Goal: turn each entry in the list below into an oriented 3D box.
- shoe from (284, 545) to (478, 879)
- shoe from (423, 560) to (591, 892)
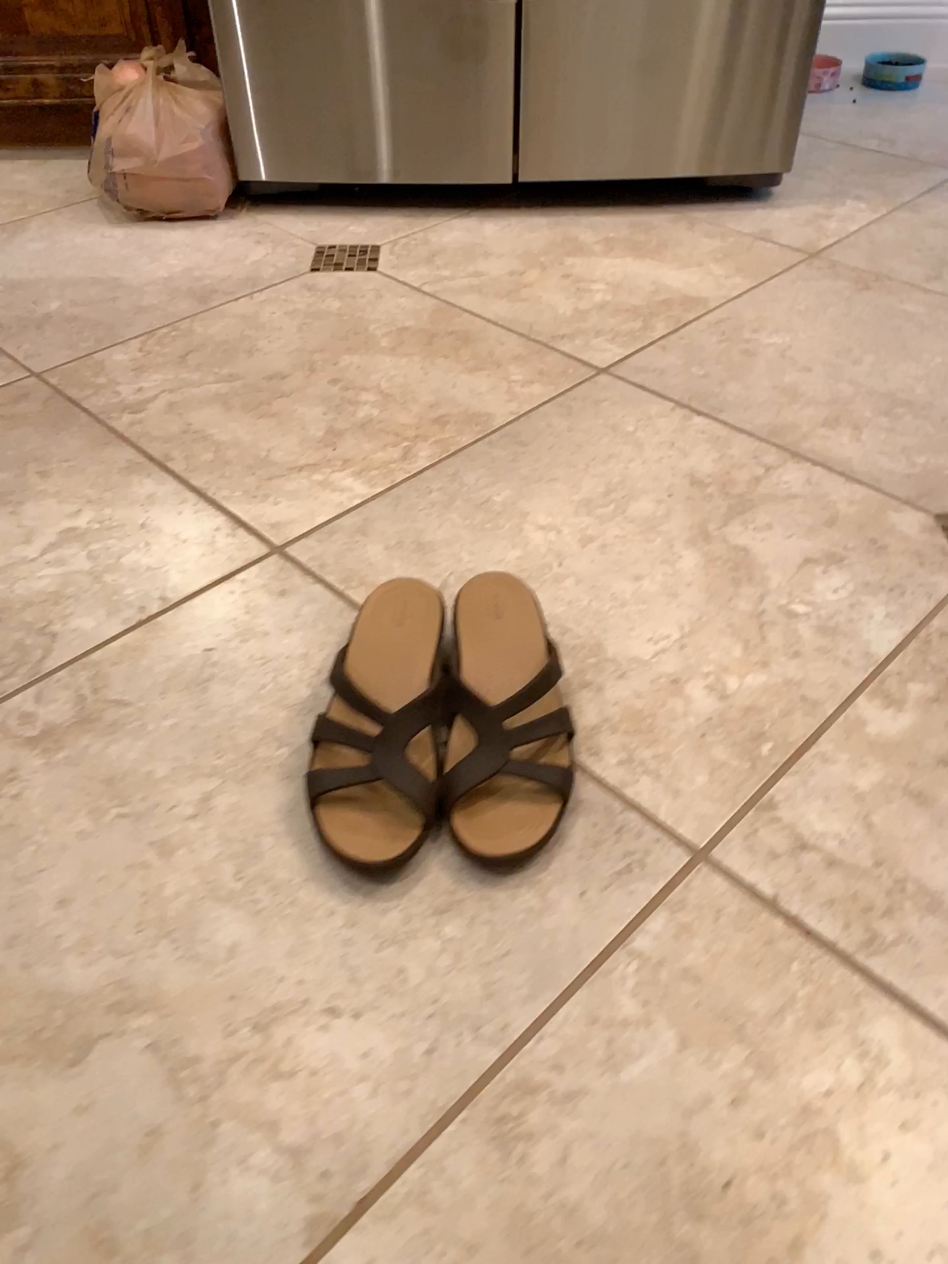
[{"bbox_3d":[-0.059,0.050,0.747,0.110,0.092,0.260,2,42,3],"label":"shoe"},{"bbox_3d":[0.020,0.063,0.761,0.110,0.092,0.265,-1,42,0],"label":"shoe"}]
